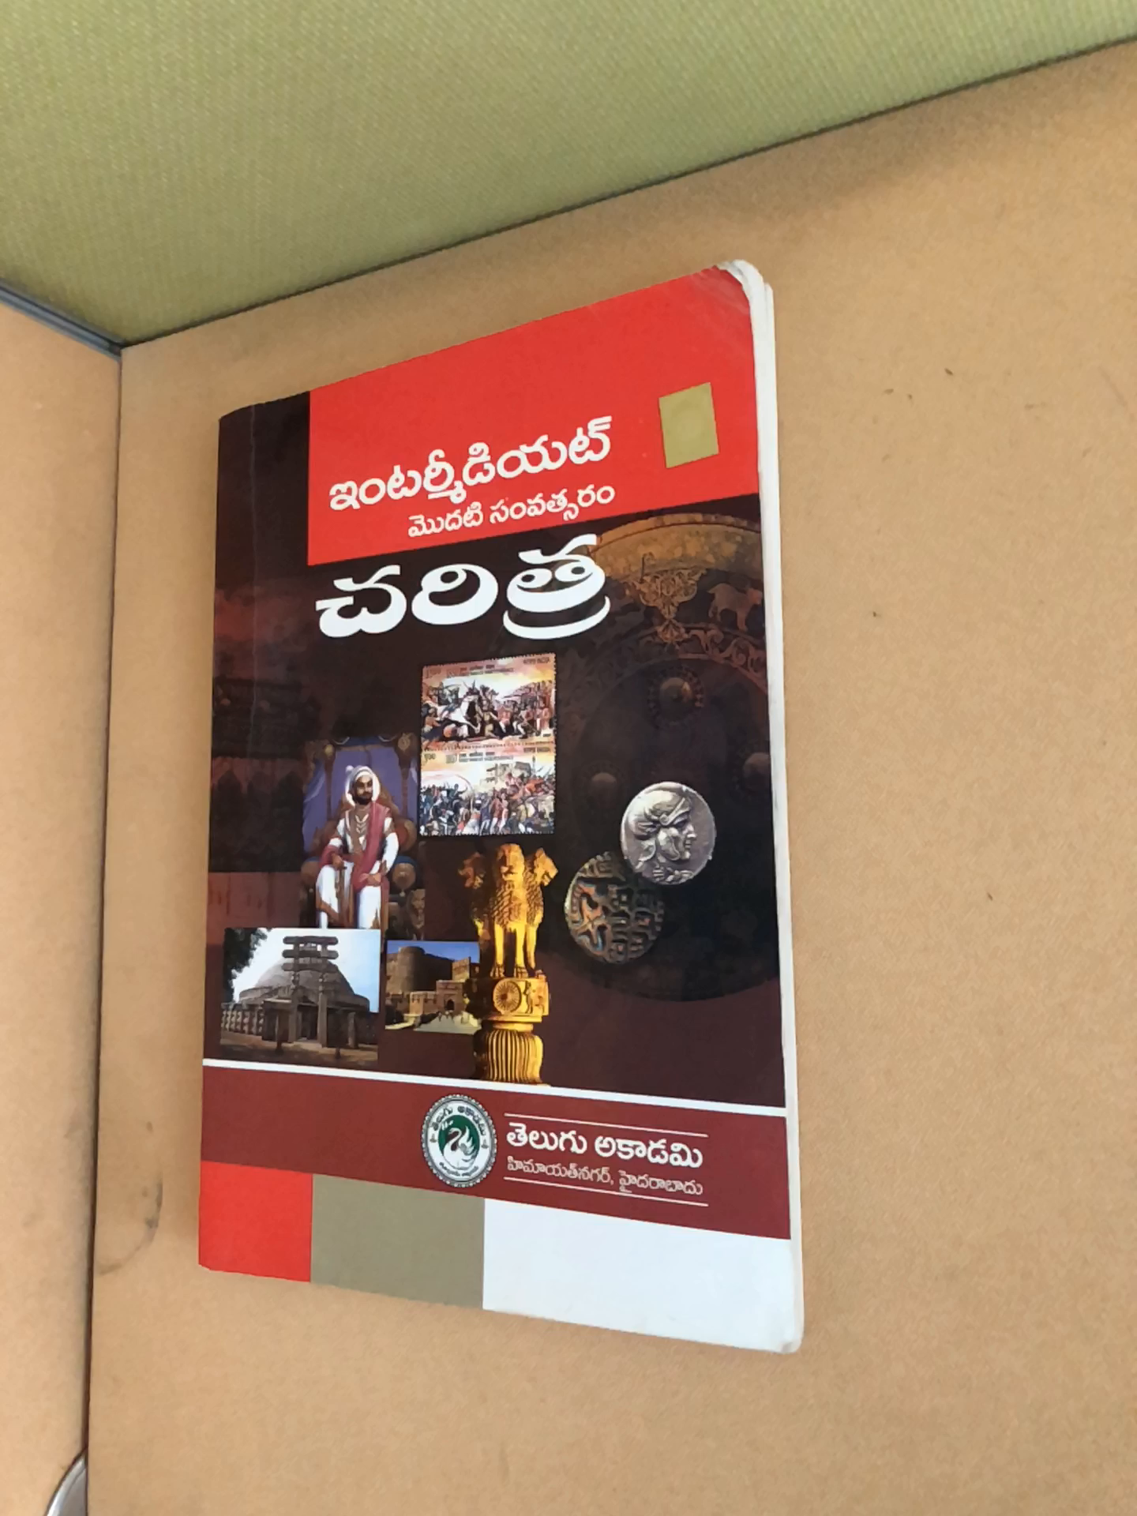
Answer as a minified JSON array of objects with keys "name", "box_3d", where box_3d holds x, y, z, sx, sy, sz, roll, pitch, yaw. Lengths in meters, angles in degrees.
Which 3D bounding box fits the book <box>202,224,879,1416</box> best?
[{"name":"book","box_3d":[-0.020,0.015,0.367,0.200,0.030,0.290,-5,81,29]}]
